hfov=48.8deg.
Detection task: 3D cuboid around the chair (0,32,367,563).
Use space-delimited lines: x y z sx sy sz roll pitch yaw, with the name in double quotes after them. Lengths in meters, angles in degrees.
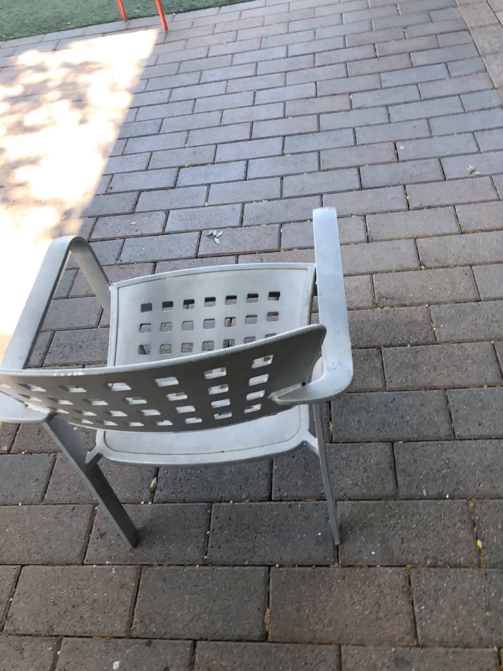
-0.135 0.005 1.065 0.630 0.776 0.592 -5 51 8 "chair"
